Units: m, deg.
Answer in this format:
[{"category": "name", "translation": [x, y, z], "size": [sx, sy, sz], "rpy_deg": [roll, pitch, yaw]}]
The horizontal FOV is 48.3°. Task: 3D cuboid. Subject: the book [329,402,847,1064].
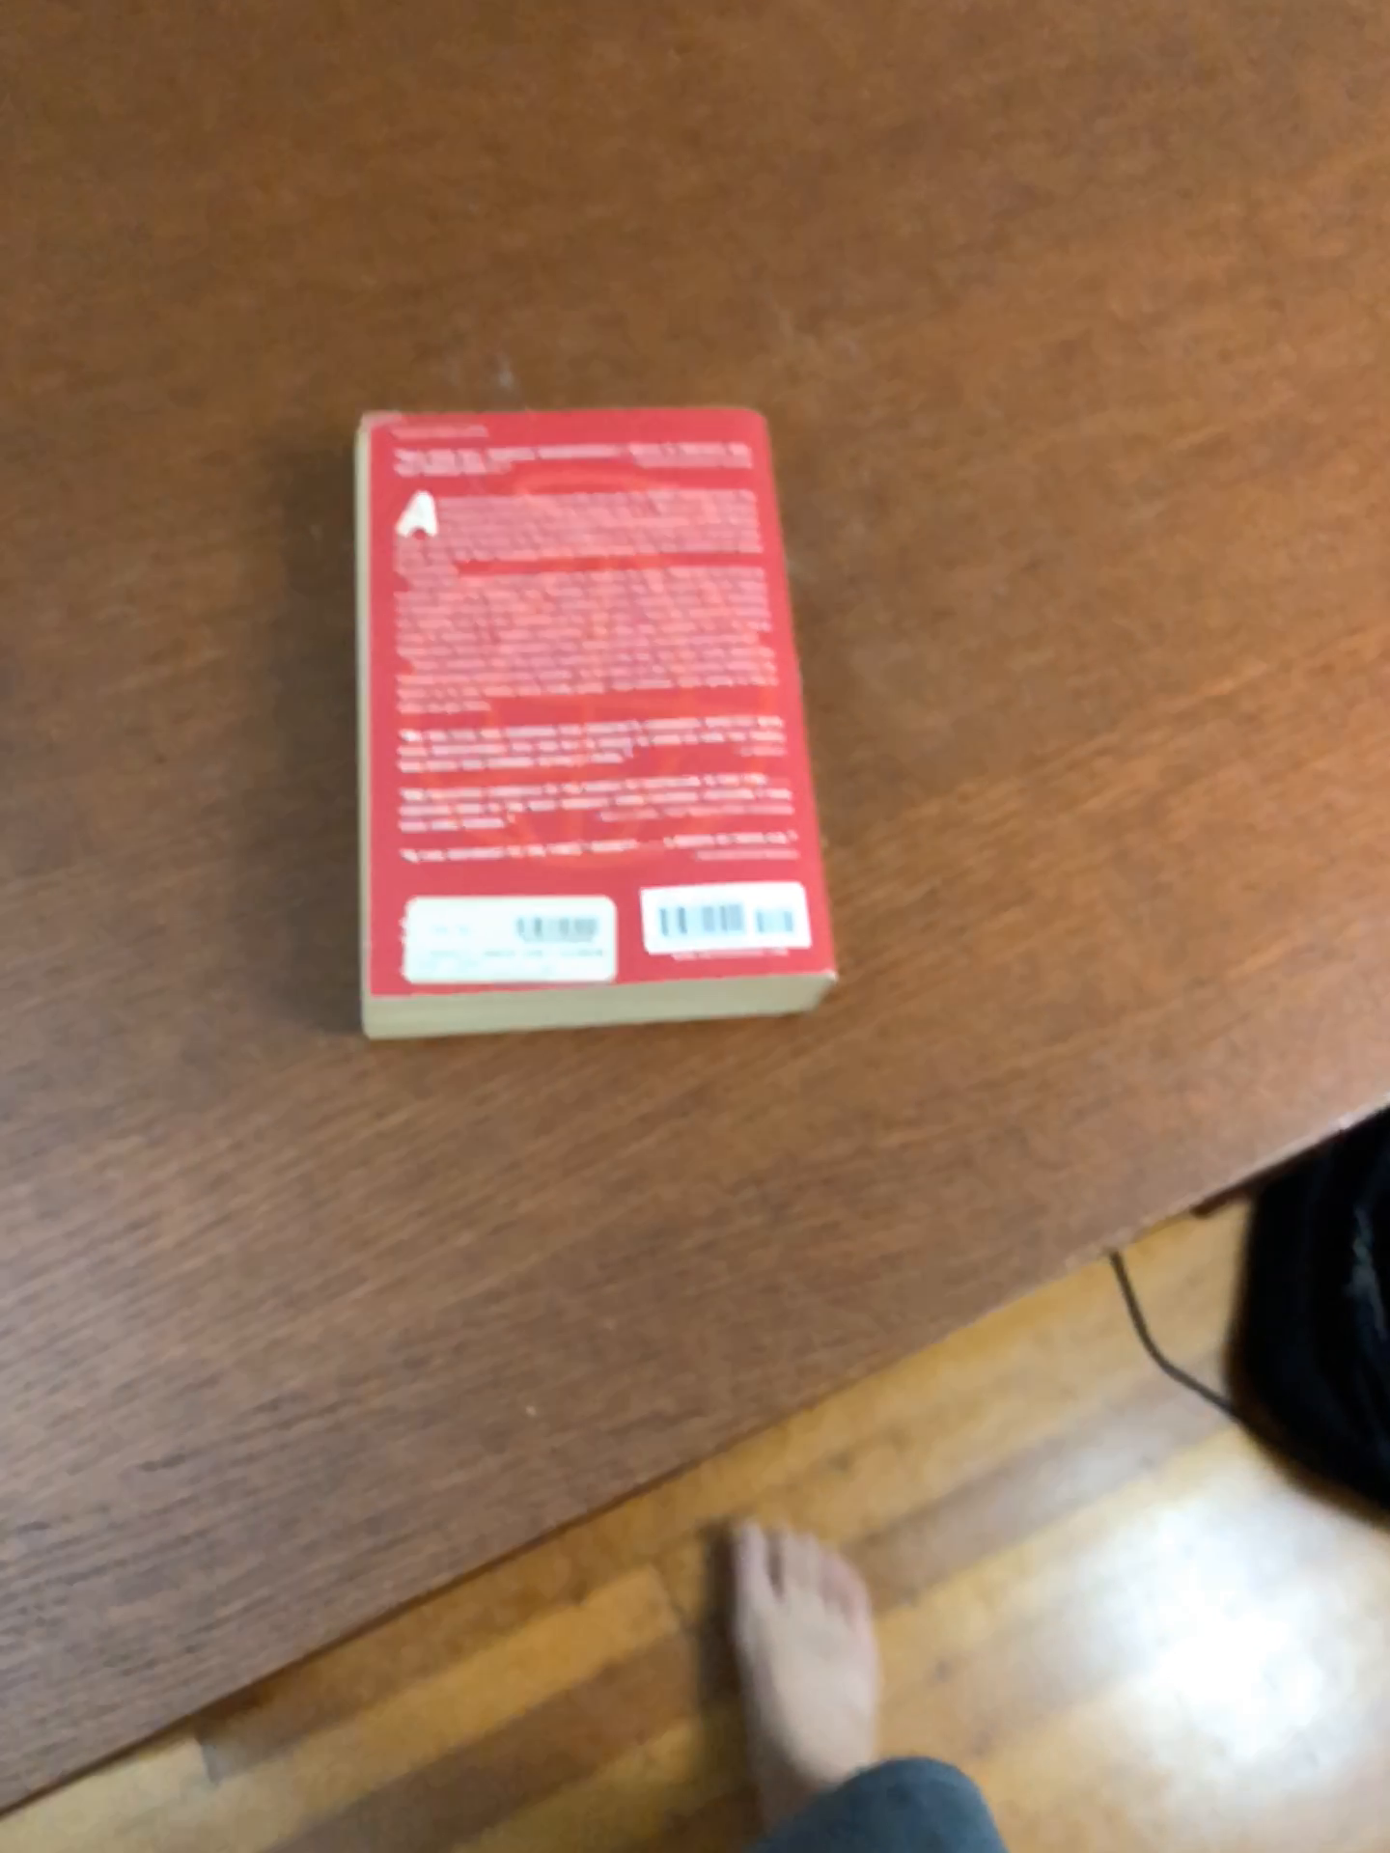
[{"category": "book", "translation": [-0.038, -0.067, 0.475], "size": [0.140, 0.030, 0.210], "rpy_deg": [-3, 67, -5]}]
